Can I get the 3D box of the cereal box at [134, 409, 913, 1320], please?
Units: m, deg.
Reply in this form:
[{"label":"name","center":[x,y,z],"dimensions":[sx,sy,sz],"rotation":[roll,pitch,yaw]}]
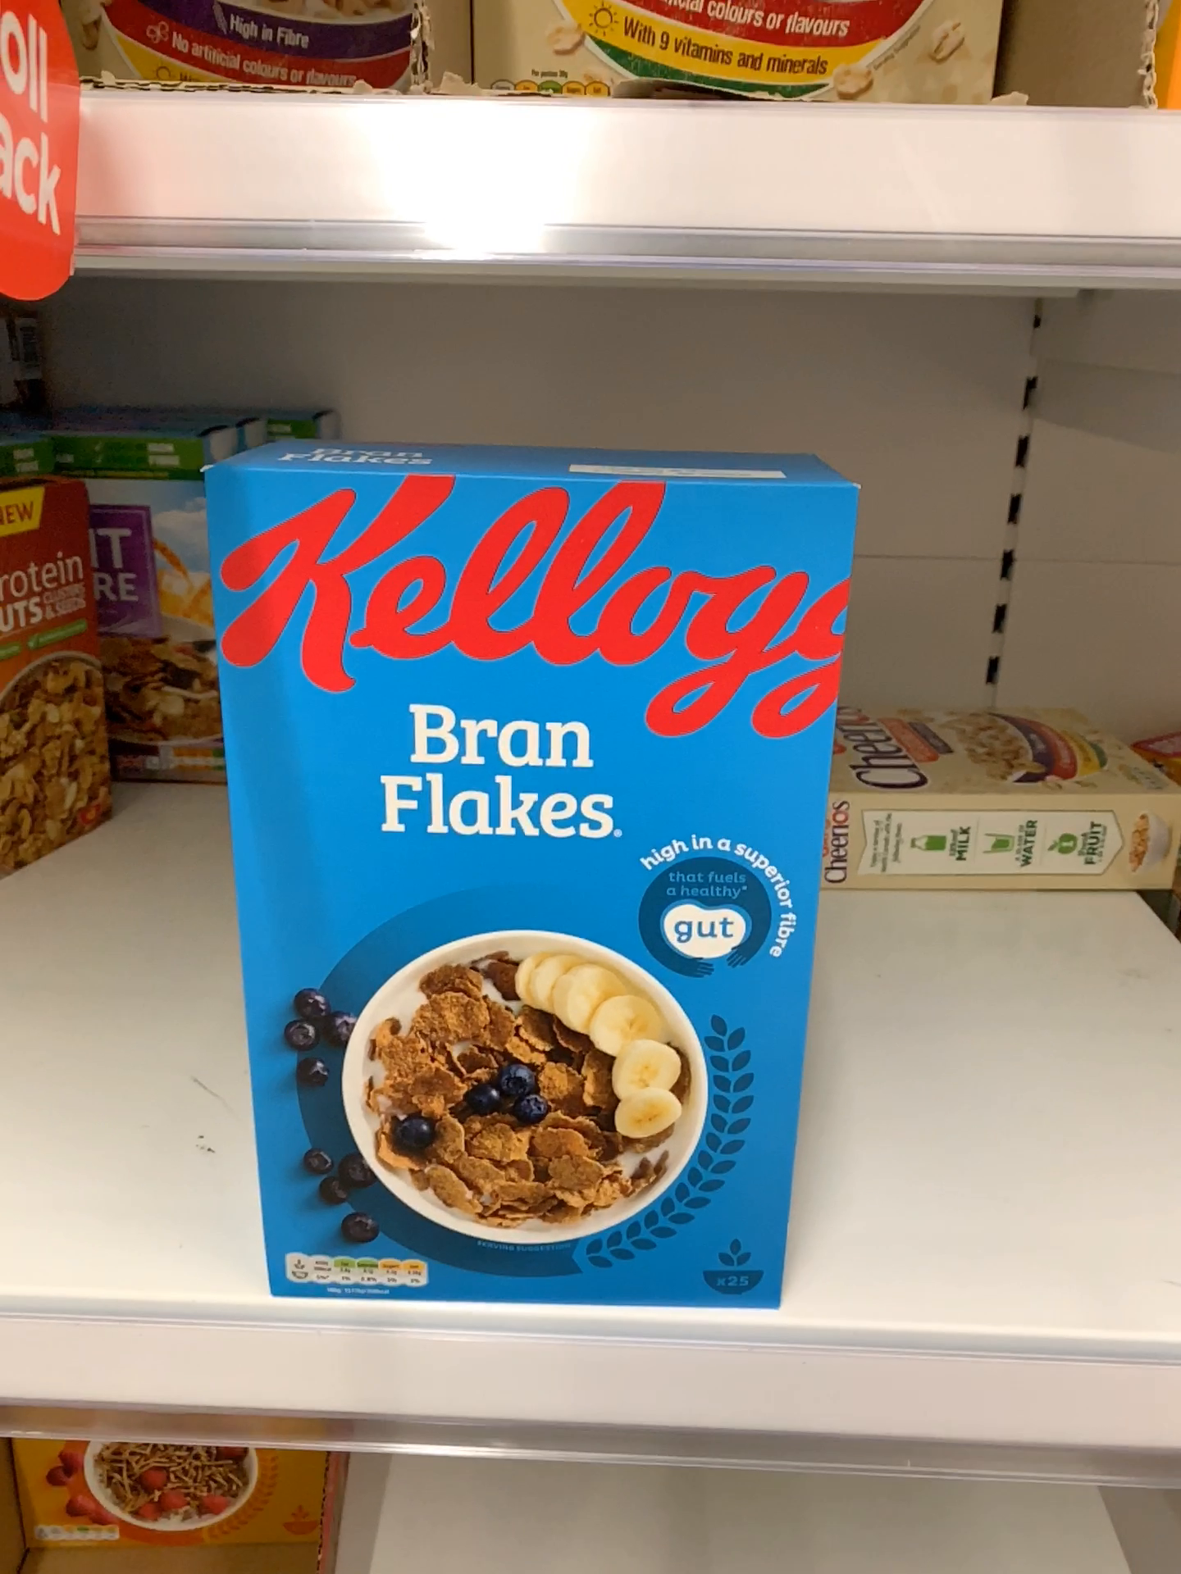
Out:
[{"label":"cereal box","center":[-0.021,0.030,0.422],"dimensions":[0.210,0.298,0.091],"rotation":[1,20,0]}]
